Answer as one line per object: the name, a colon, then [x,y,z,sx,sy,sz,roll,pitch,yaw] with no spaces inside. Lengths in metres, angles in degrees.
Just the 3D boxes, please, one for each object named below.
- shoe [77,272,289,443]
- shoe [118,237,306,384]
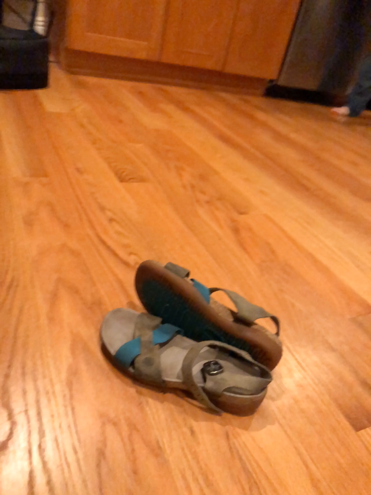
shoe: [-0.004,0.130,0.524,0.240,0.075,0.105,21,31,12]
shoe: [0.031,0.084,0.573,0.238,0.104,0.065,21,31,12]
